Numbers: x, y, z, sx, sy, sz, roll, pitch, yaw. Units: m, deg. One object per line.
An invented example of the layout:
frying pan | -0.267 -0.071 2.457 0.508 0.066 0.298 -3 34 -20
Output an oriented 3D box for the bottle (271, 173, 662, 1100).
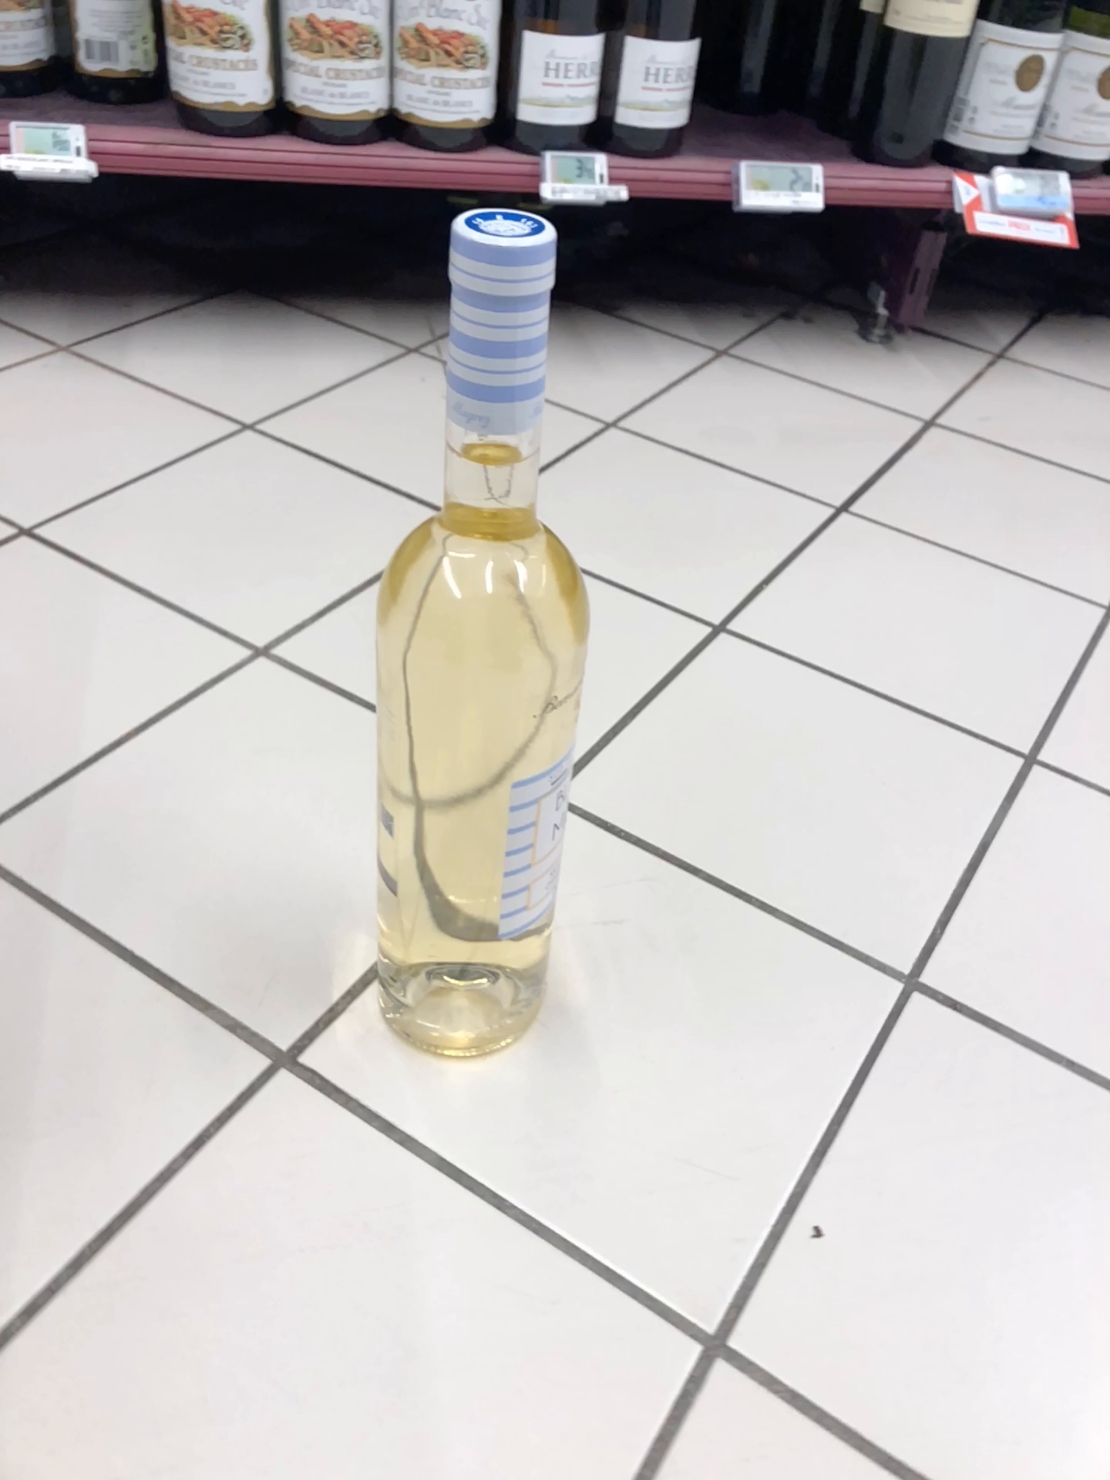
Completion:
bottle | -0.034 -0.012 0.415 0.080 0.308 0.081 4 39 -4
